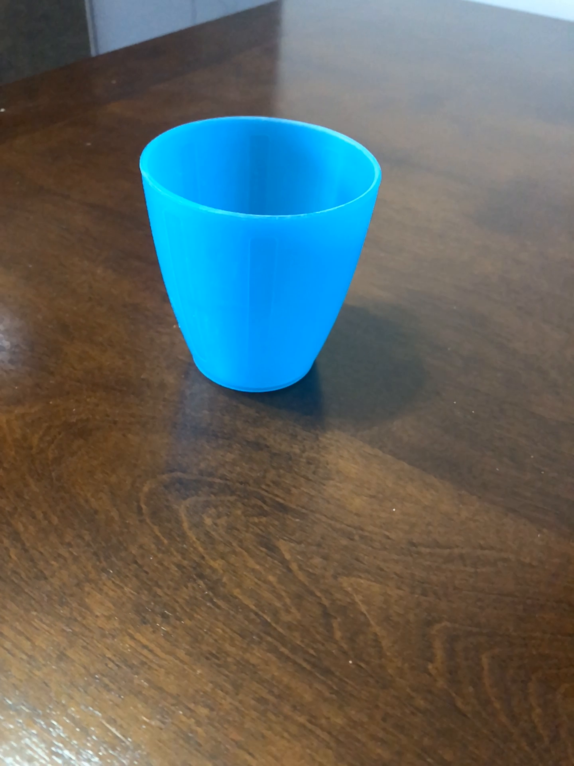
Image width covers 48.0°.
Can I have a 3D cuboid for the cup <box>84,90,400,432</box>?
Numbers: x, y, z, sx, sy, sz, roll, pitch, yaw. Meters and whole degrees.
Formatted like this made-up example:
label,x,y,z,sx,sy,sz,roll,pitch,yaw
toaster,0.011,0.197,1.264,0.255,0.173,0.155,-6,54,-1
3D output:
label,x,y,z,sx,sy,sz,roll,pitch,yaw
cup,-0.011,-0.043,0.223,0.080,0.080,0.070,11,42,7
